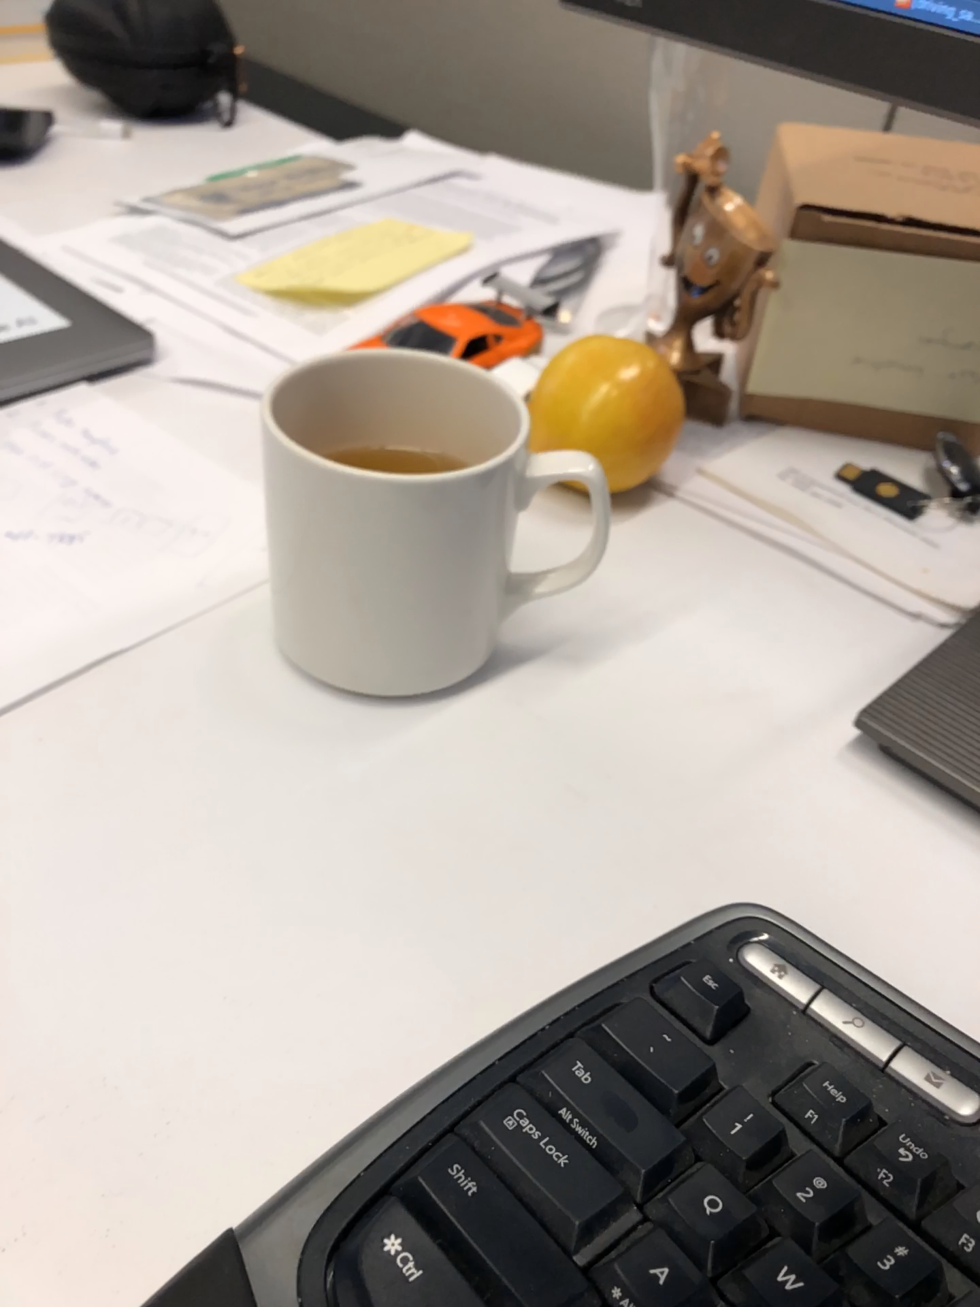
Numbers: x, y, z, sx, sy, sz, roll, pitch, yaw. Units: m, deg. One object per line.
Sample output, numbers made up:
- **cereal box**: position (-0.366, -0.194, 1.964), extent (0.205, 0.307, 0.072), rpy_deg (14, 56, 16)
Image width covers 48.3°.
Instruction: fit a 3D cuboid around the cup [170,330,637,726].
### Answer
- **cup**: position (-0.024, -0.039, 0.336), extent (0.120, 0.080, 0.080), rpy_deg (5, 39, -2)
